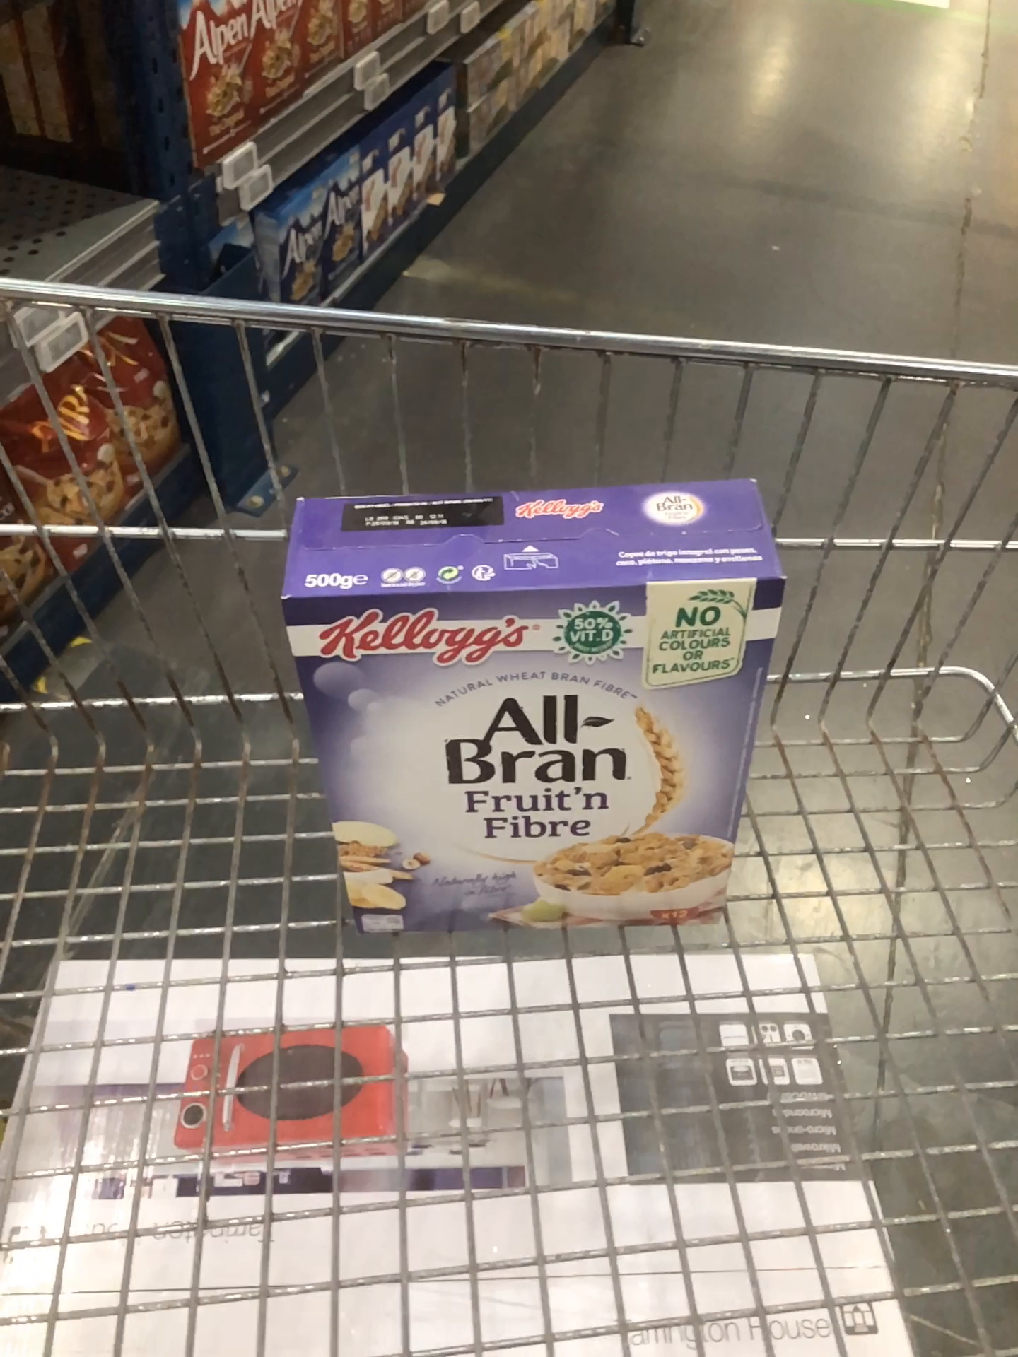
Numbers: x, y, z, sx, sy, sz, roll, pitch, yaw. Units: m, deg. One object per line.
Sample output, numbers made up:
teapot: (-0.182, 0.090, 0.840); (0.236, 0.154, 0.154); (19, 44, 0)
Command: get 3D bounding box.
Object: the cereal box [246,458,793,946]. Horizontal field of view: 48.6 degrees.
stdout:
cereal box: (0.006, 0.022, 0.521); (0.200, 0.229, 0.080); (-3, 45, -1)
